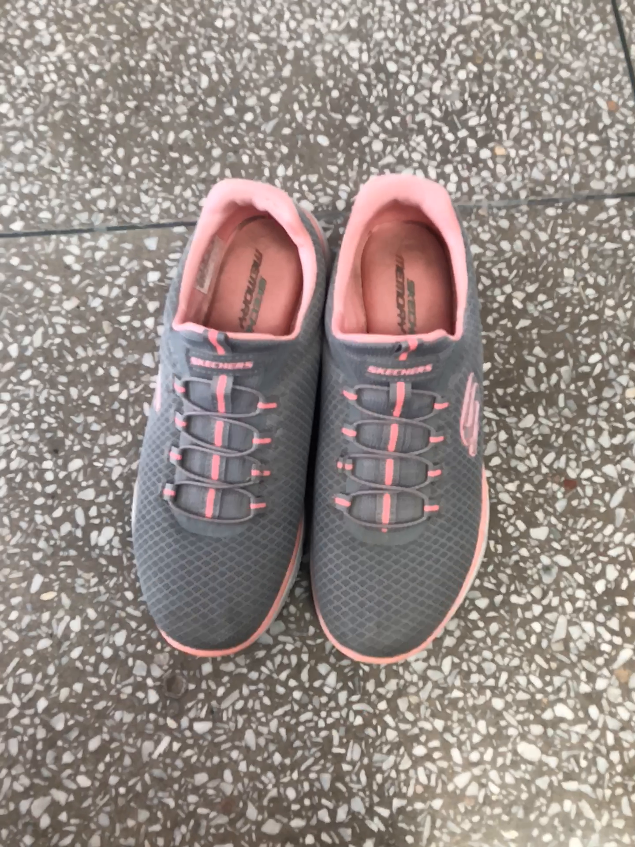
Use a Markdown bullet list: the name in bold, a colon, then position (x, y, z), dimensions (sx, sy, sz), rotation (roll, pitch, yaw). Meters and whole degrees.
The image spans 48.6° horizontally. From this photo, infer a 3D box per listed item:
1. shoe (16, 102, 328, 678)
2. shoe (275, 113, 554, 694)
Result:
- **shoe**: position (-0.054, -0.016, 0.345), dimensions (0.097, 0.095, 0.252), rotation (4, 74, 3)
- **shoe**: position (0.047, -0.008, 0.344), dimensions (0.102, 0.108, 0.246), rotation (4, 74, 3)
